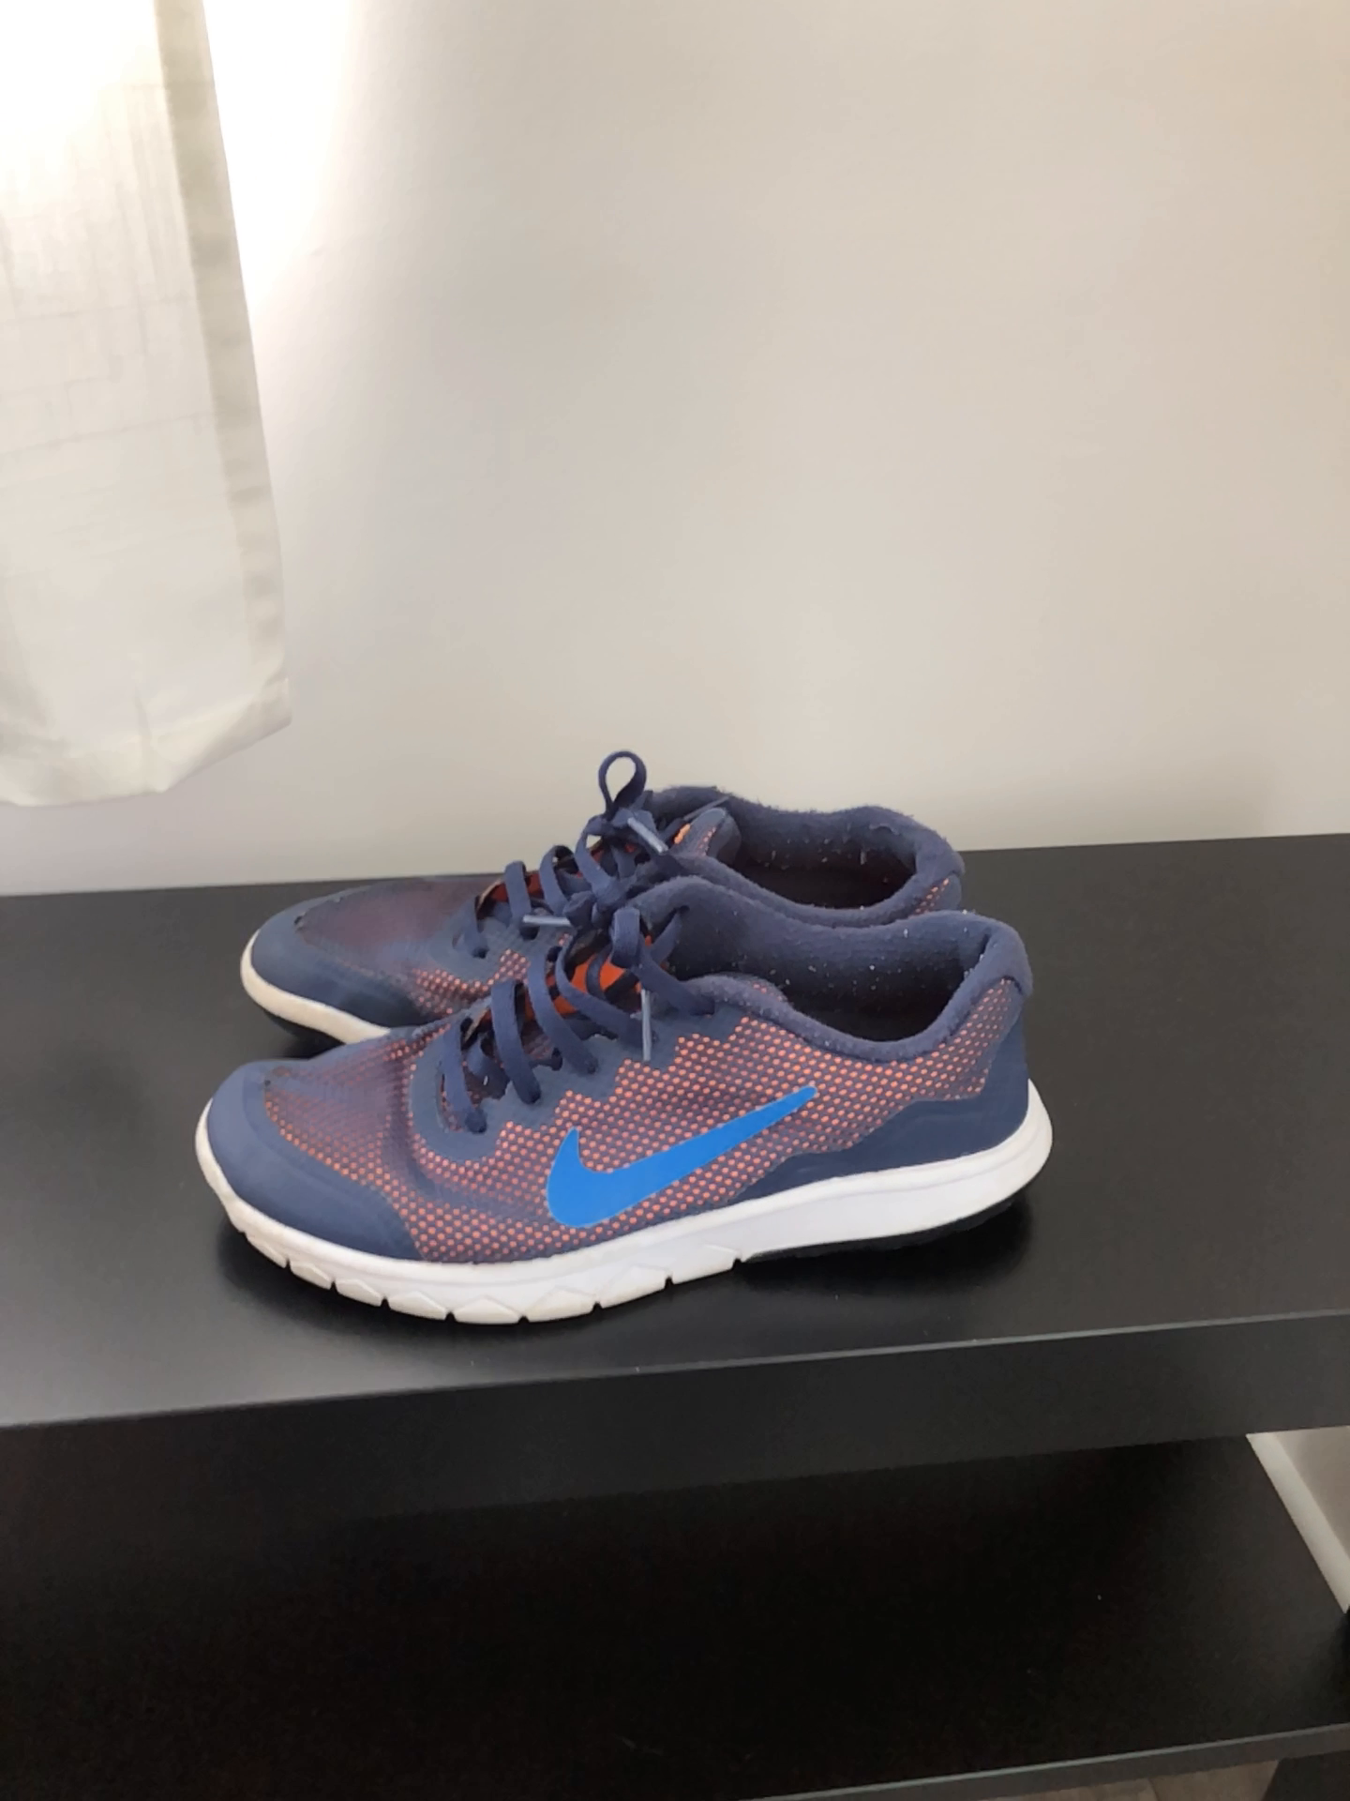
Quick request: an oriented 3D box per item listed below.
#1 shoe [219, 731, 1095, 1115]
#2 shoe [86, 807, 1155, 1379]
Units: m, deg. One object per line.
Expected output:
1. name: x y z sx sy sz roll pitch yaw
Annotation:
1. shoe: -0.007 0.005 0.507 0.260 0.089 0.100 0 31 -4
2. shoe: -0.017 0.047 0.432 0.260 0.089 0.121 -3 31 -9
